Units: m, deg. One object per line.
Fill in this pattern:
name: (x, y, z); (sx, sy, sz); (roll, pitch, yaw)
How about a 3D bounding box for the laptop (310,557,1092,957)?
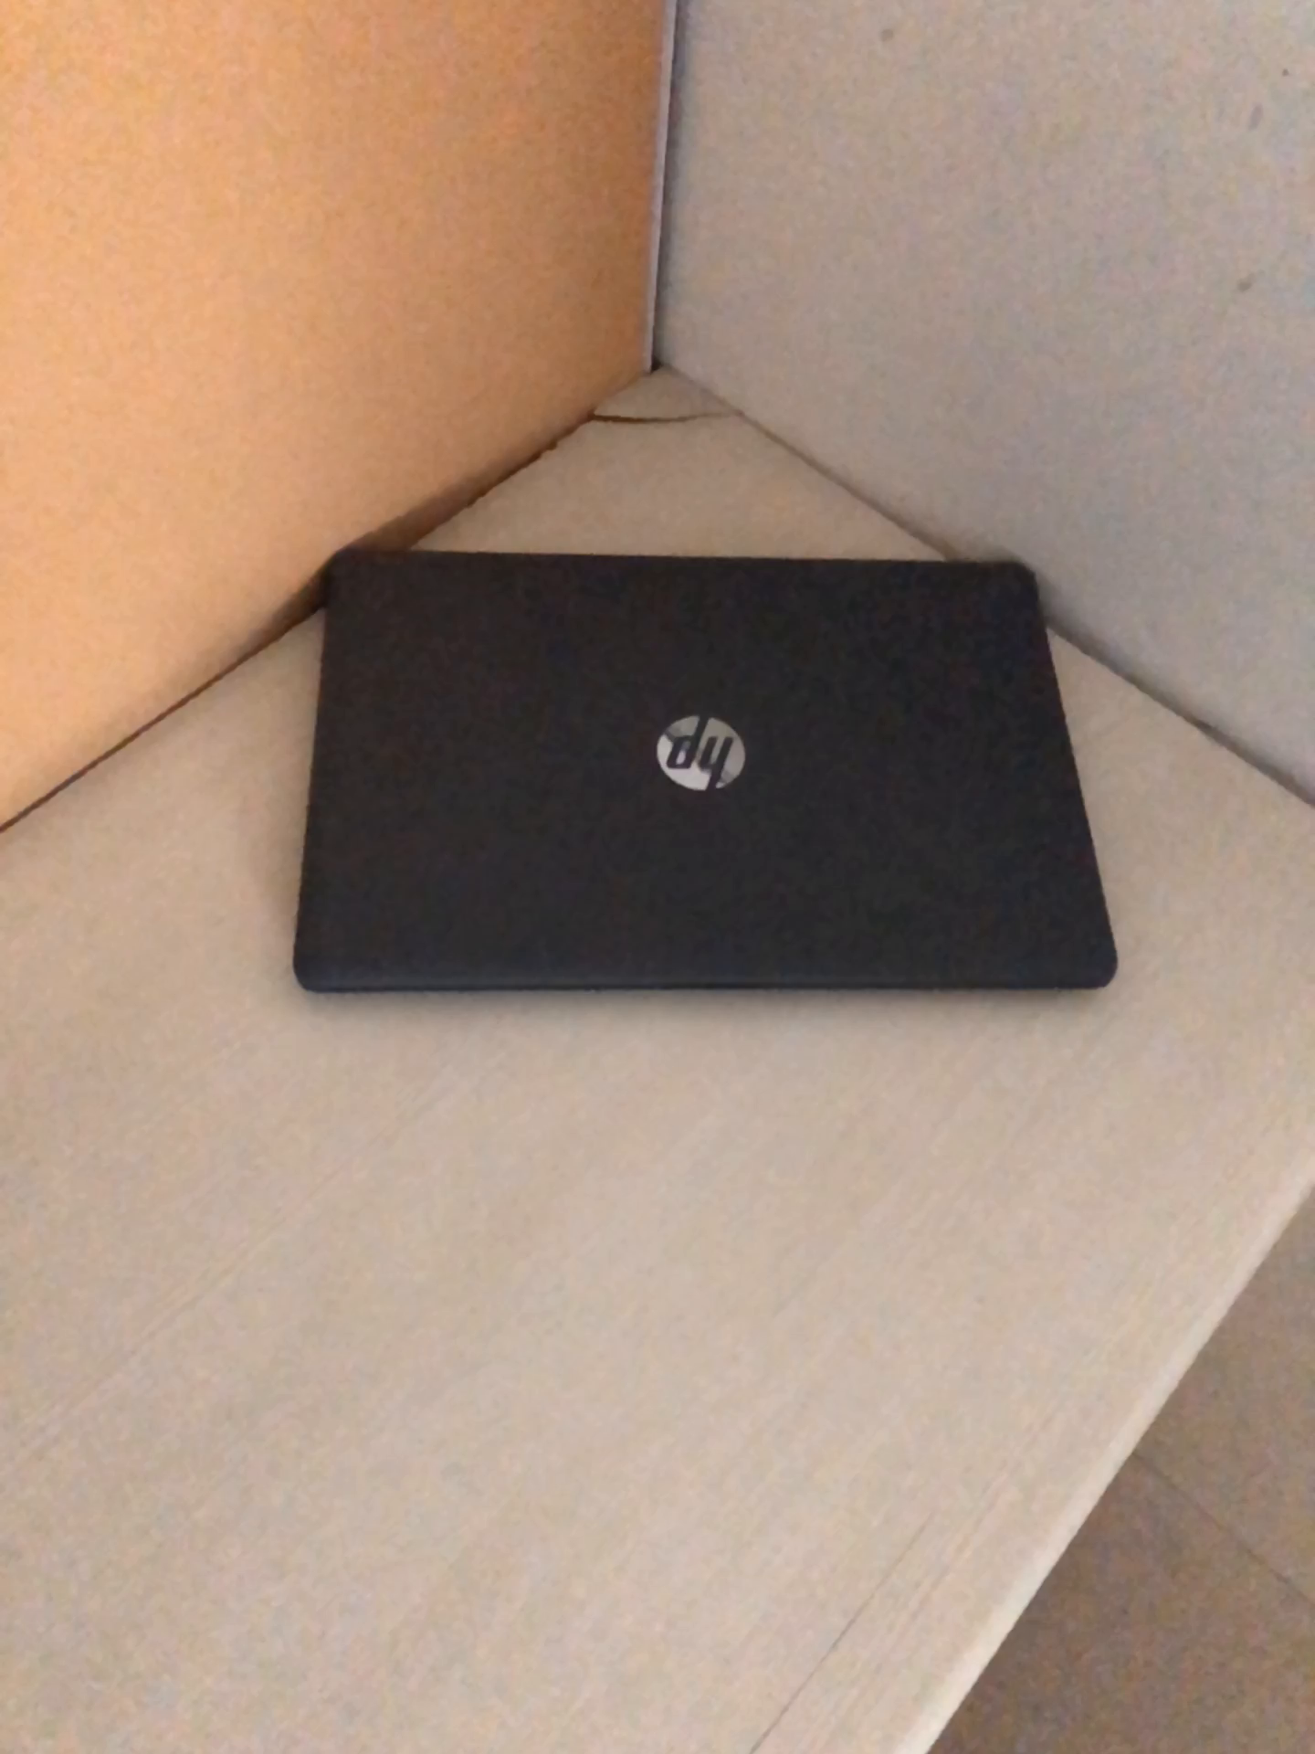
laptop: (0.020, -0.067, 0.720); (0.355, 0.004, 0.237); (0, 59, -4)
